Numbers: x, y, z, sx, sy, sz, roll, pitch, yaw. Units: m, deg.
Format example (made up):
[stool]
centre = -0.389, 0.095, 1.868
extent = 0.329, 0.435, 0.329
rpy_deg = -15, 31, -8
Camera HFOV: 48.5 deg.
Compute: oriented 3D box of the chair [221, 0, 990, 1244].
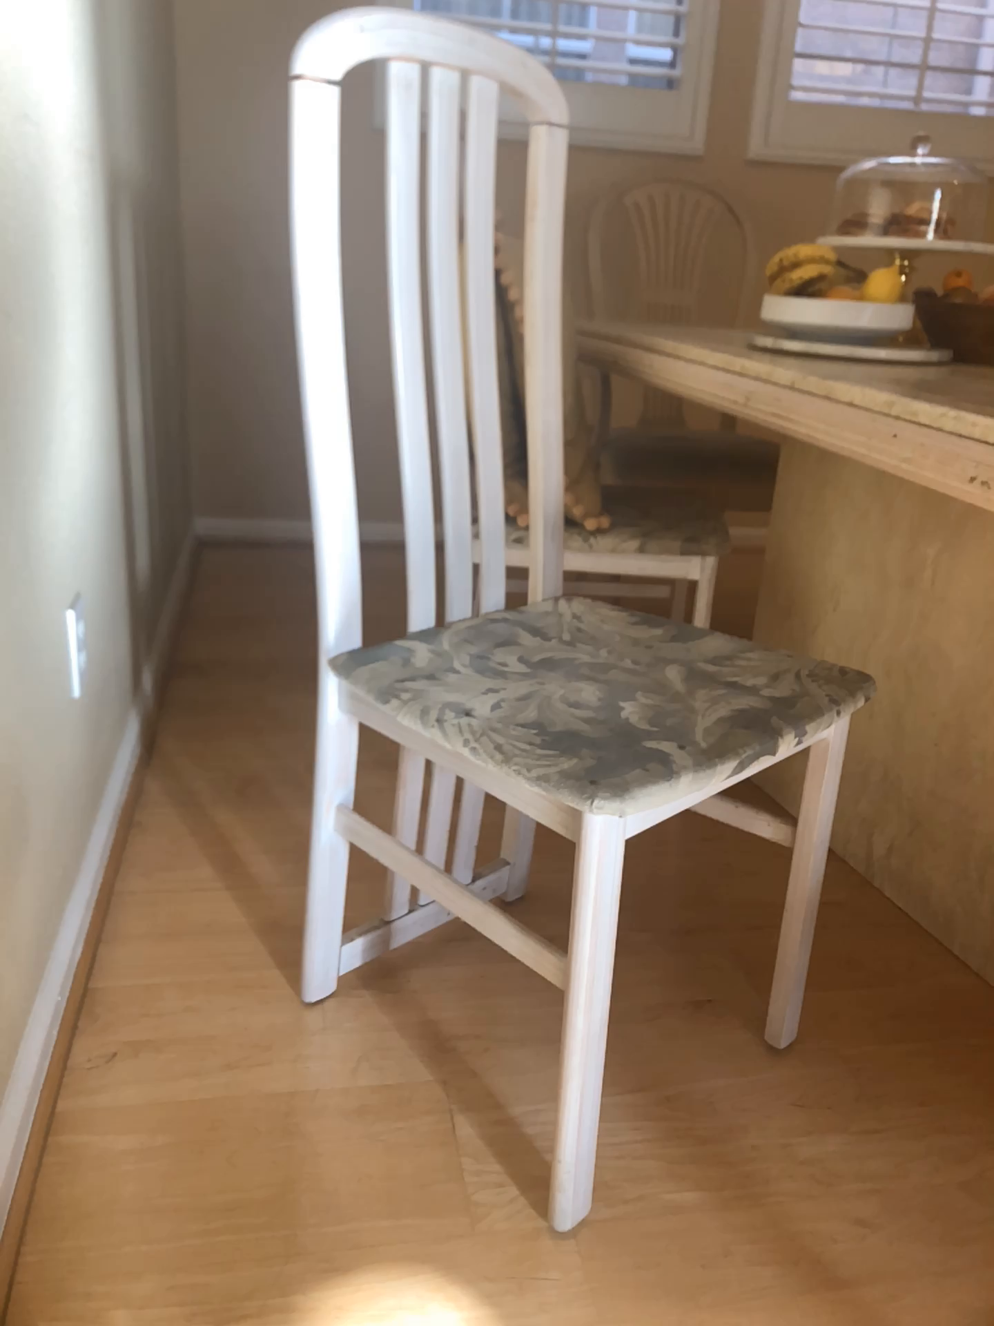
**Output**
[chair]
centre = 0.100, -0.141, 1.542
extent = 0.633, 1.451, 0.670
rpy_deg = -14, 24, -41
